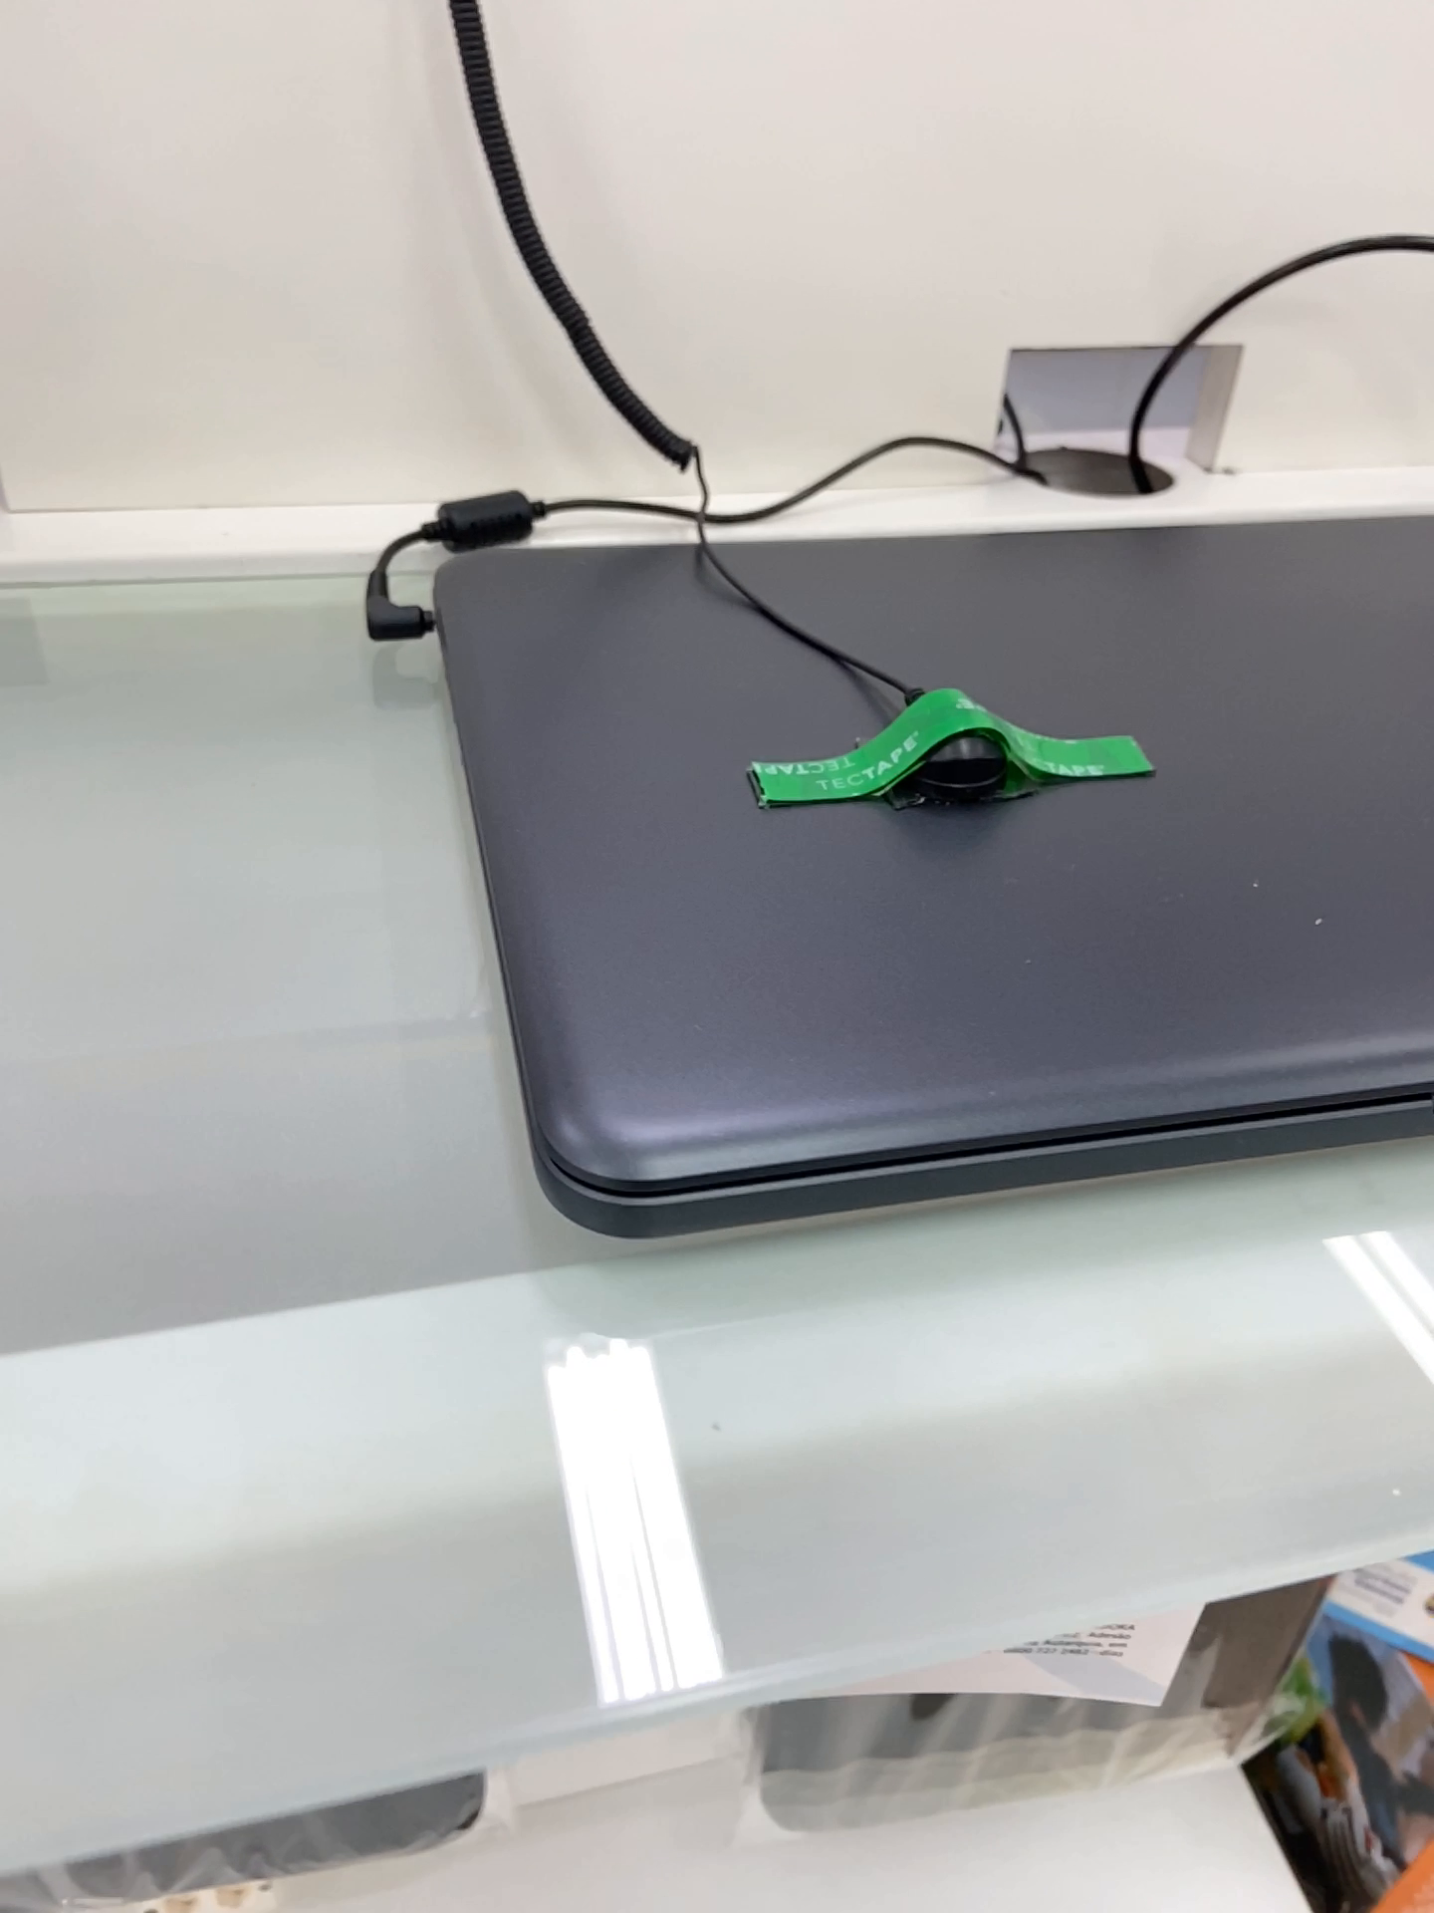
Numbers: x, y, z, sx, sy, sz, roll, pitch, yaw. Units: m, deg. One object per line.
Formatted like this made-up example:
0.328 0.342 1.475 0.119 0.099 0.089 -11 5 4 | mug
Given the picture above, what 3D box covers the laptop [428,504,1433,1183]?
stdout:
0.120 -0.055 0.345 0.351 0.001 0.233 -6 38 -13 | laptop
